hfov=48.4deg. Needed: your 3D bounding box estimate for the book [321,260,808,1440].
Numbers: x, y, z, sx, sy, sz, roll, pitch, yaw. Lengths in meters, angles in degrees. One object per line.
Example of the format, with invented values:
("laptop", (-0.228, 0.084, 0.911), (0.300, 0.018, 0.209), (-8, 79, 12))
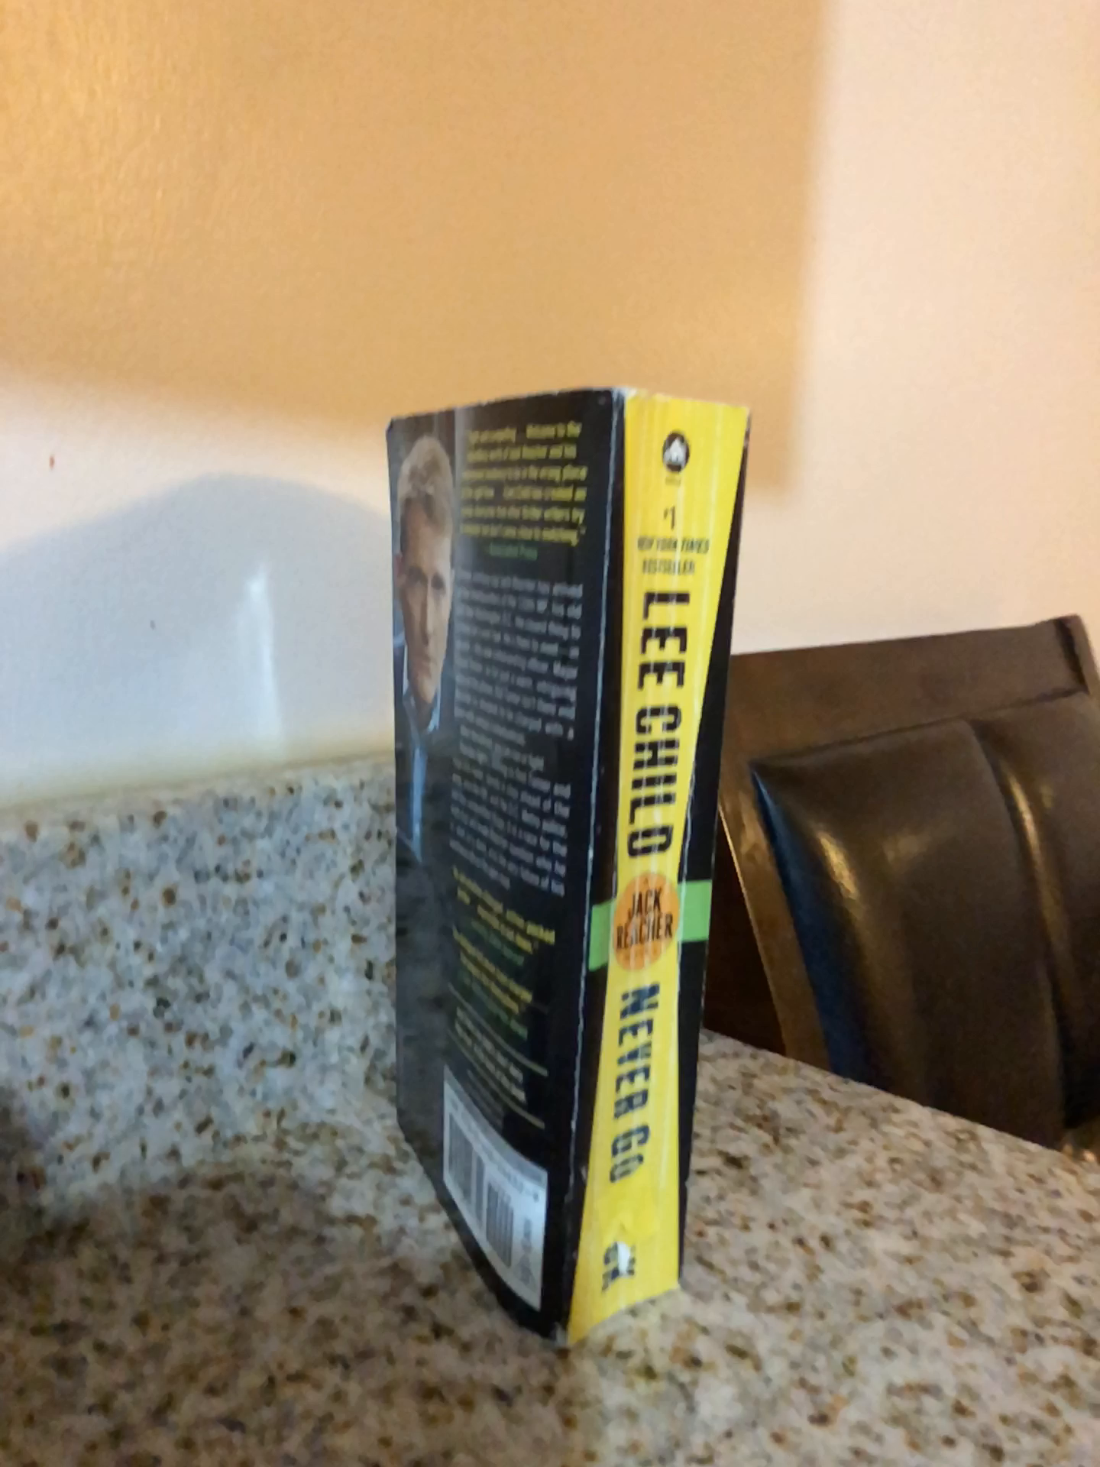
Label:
("book", (-0.012, 0.016, 0.306), (0.050, 0.220, 0.160), (1, 8, -22))
